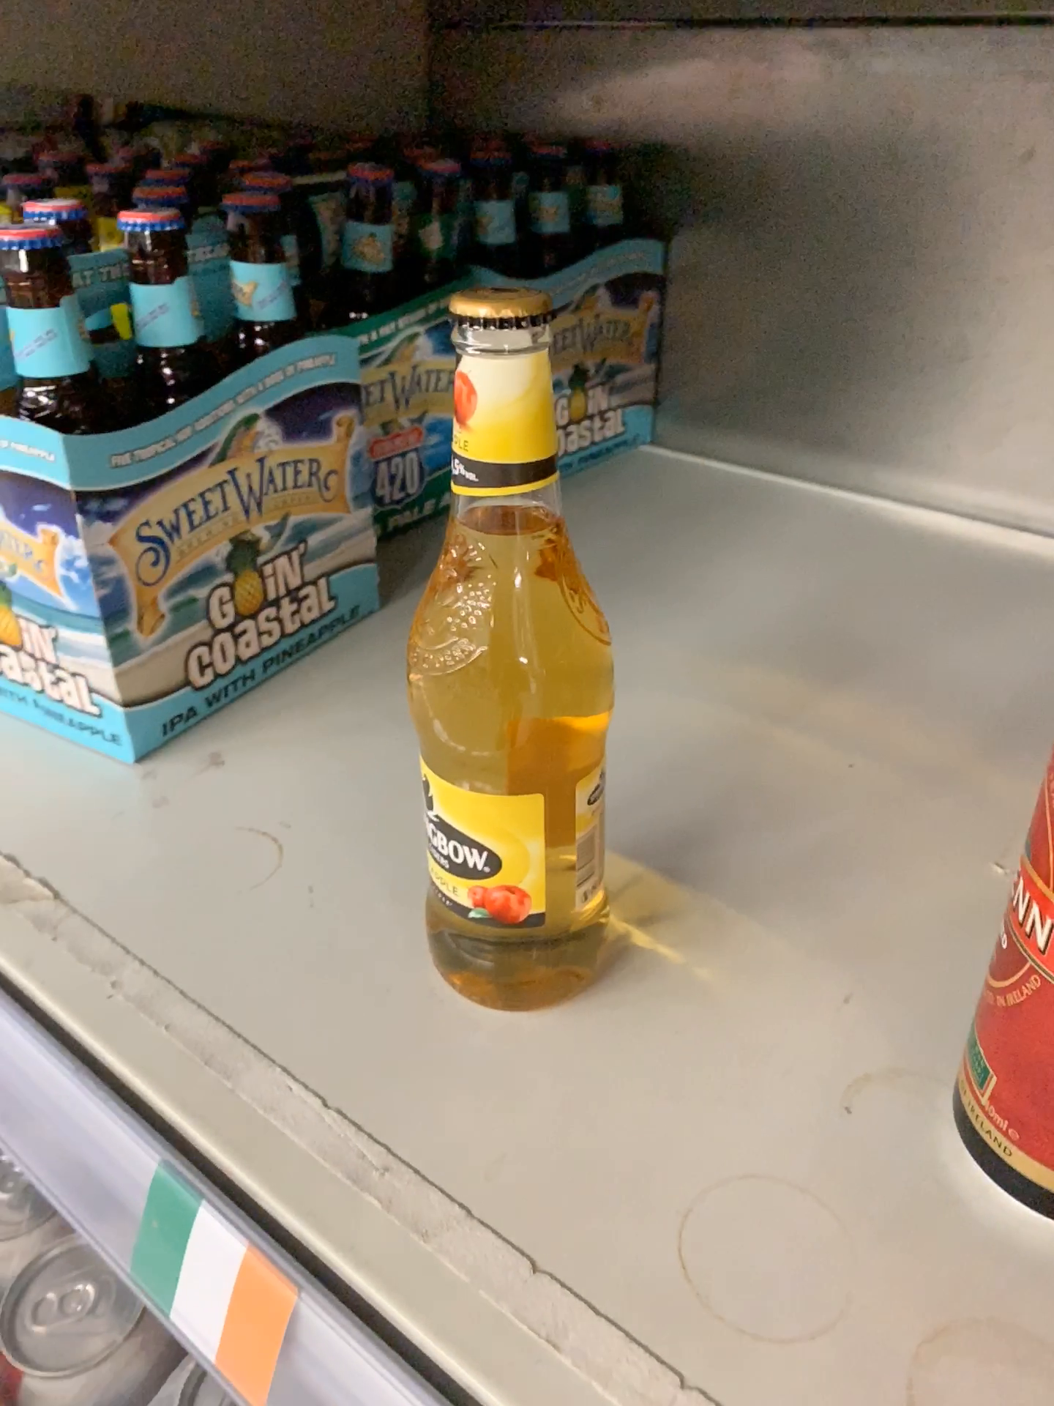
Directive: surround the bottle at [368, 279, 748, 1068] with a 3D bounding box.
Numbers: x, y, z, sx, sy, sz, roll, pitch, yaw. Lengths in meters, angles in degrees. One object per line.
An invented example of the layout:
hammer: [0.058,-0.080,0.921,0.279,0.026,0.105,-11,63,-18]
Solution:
bottle: [0.003,-0.004,0.358,0.080,0.239,0.080,1,30,-1]
